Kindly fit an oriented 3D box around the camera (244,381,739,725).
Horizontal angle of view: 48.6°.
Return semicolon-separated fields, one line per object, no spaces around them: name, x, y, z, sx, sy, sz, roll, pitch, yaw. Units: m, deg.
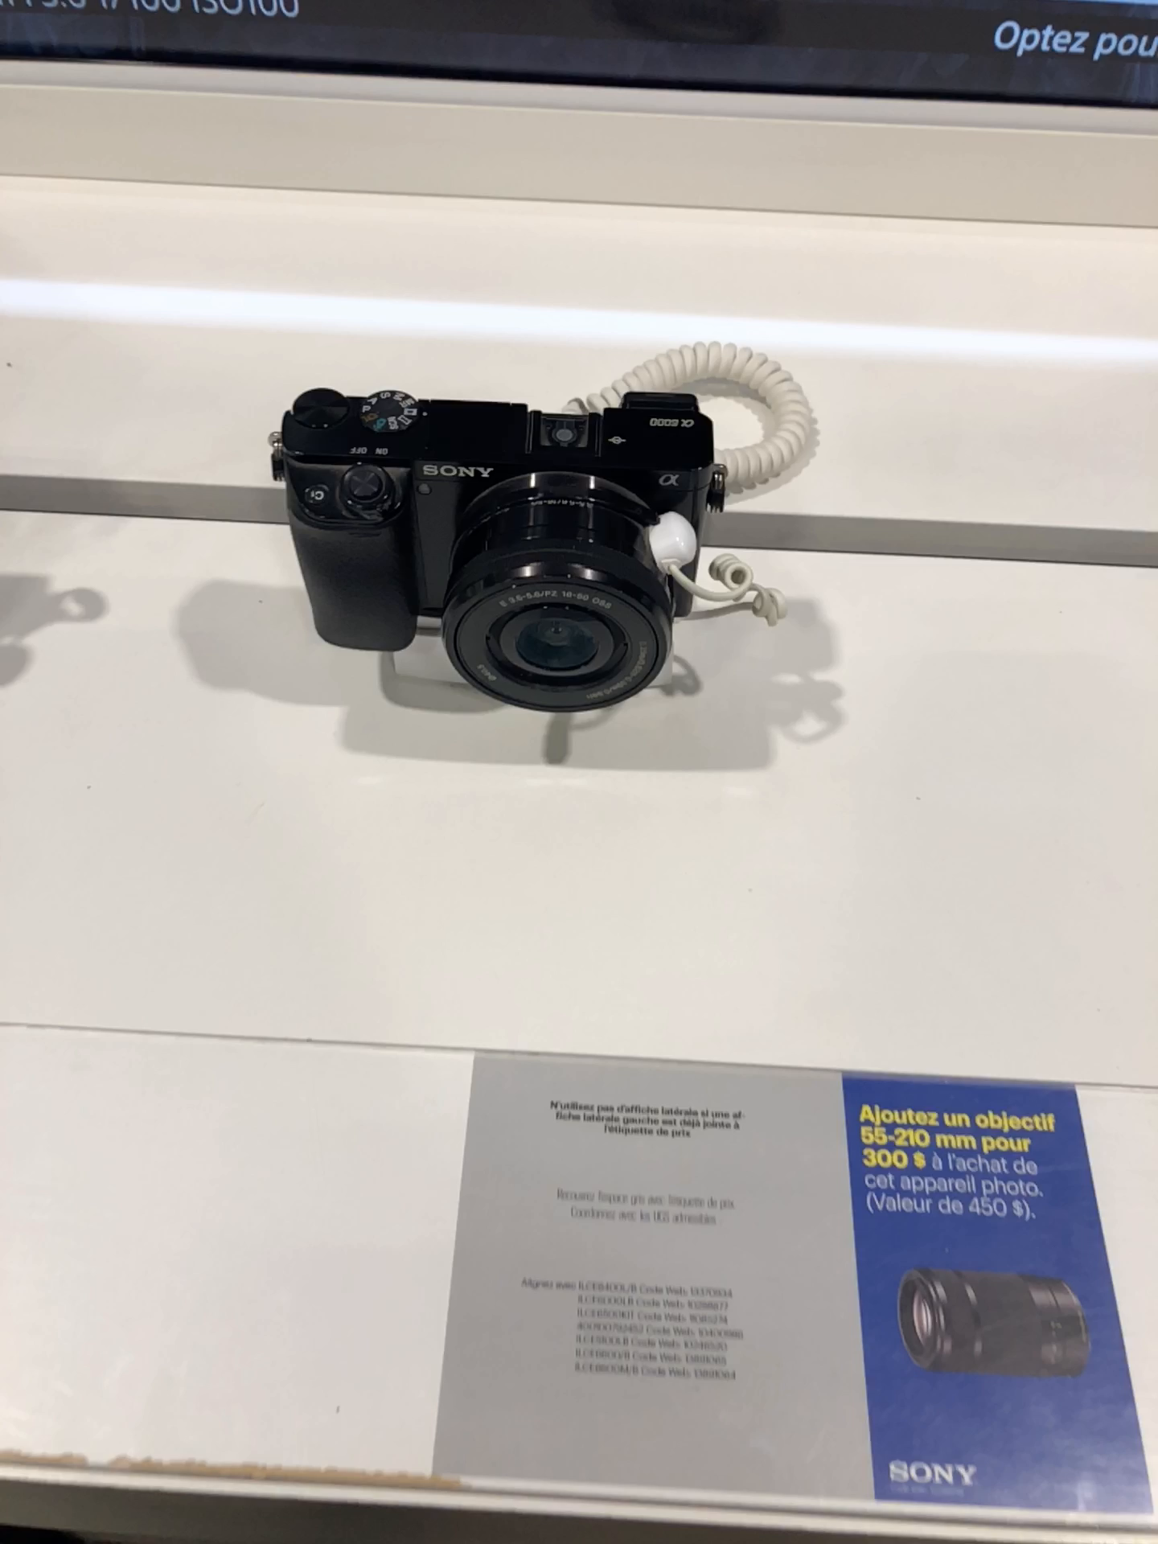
camera;-0.022;-0.064;0.387;0.130;0.077;0.065;1;55;1
